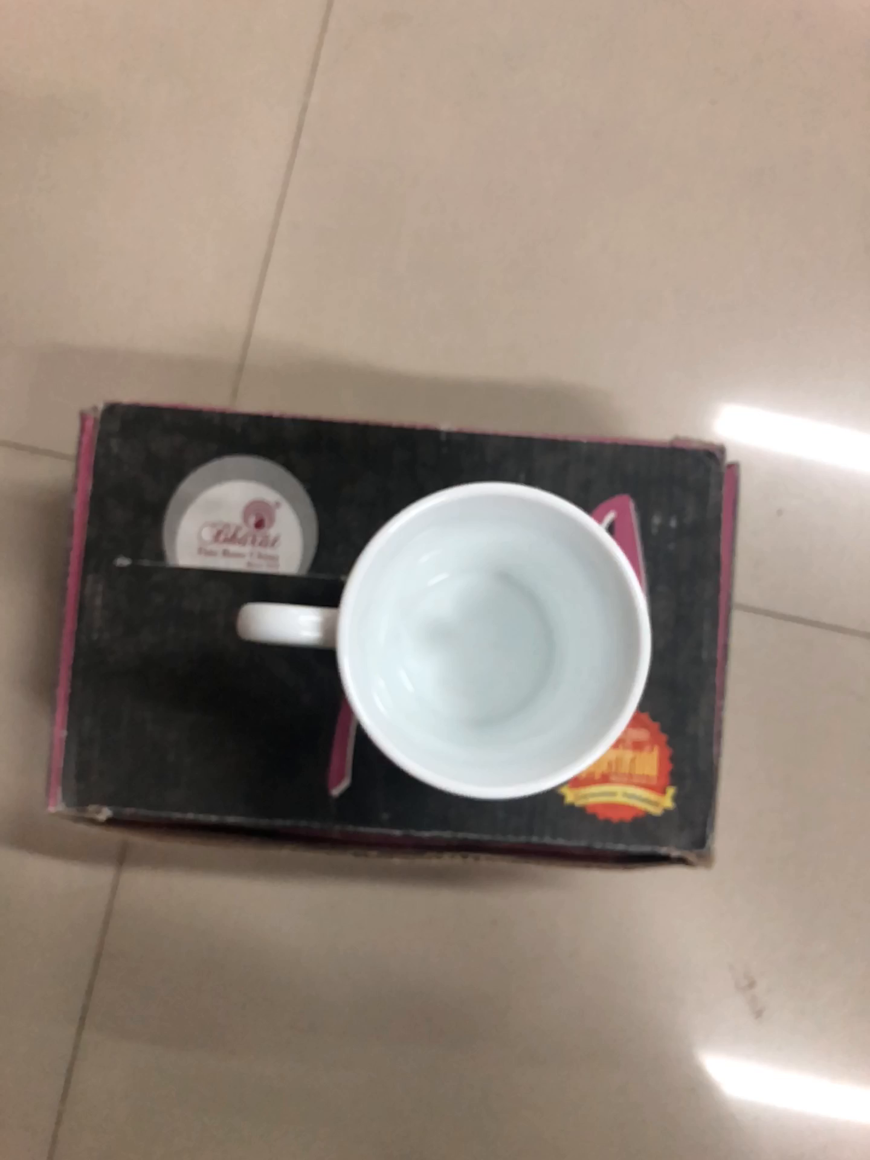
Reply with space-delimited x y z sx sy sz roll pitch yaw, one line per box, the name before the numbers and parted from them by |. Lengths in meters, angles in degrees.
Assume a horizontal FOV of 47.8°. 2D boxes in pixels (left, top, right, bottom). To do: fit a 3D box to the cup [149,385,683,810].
cup | -0.005 0.007 0.284 0.120 0.090 0.090 7 85 -1
